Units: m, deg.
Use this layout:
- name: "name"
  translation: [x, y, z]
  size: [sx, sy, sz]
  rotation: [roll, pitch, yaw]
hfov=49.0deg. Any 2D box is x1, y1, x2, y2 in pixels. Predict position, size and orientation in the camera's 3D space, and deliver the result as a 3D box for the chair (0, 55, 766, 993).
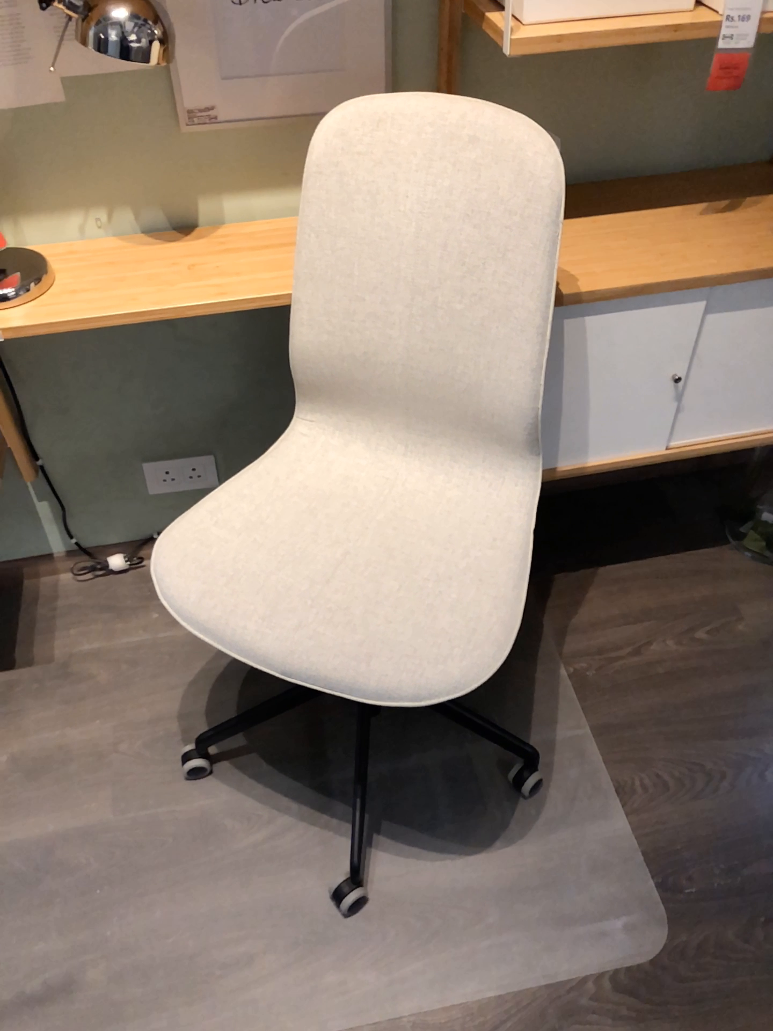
- name: "chair"
  translation: [-0.005, 0.011, 1.130]
  size: [0.621, 0.904, 0.653]
  rotation: [19, 47, 20]
